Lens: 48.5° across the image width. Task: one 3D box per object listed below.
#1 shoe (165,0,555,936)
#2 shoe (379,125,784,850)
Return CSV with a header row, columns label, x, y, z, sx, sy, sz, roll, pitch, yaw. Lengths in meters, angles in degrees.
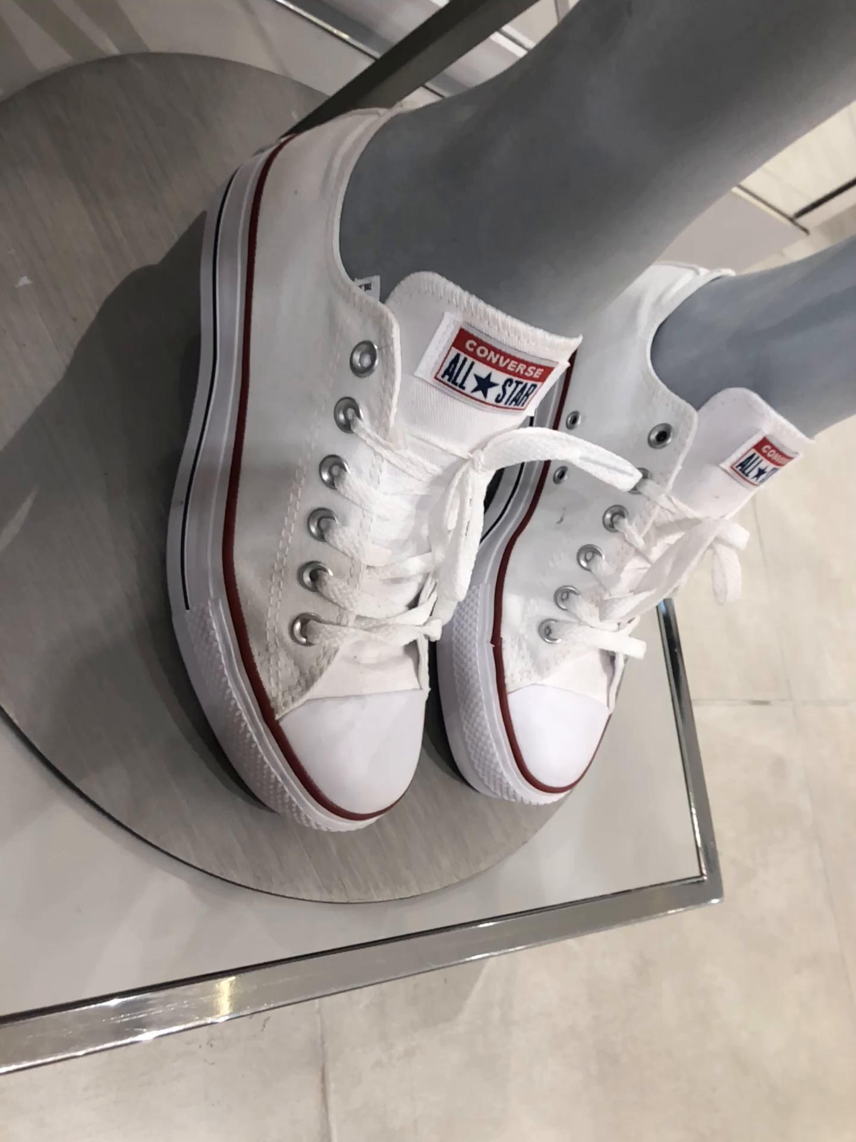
label,x,y,z,sx,sy,sz,roll,pitch,yaw
shoe,-0.023,-0.034,0.329,0.101,0.089,0.270,1,89,-42
shoe,0.074,-0.030,0.427,0.111,0.089,0.280,17,78,-37
